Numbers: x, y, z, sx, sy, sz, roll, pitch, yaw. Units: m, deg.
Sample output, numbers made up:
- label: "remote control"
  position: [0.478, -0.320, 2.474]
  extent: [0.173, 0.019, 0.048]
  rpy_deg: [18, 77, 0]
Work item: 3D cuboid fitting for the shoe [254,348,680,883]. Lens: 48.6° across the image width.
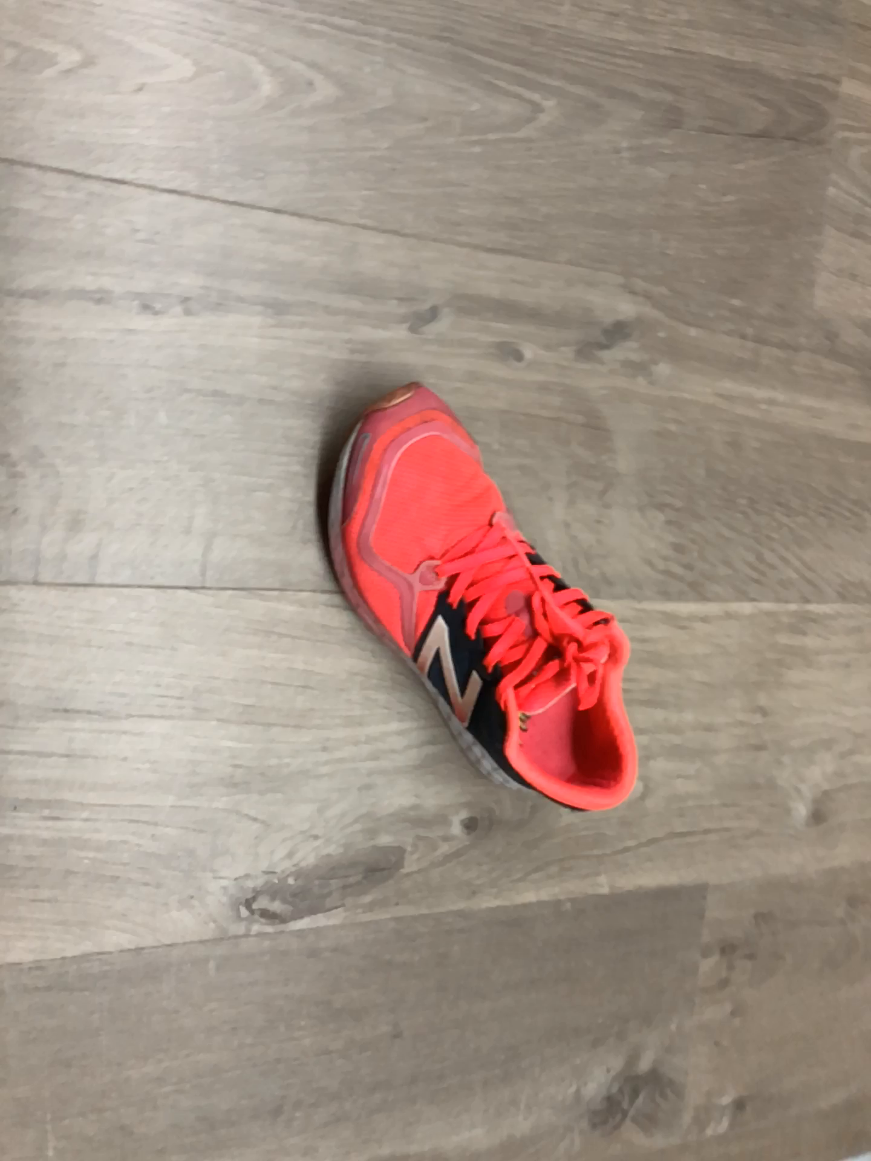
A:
- label: "shoe"
  position: [0.017, 0.015, 0.508]
  extent: [0.100, 0.110, 0.240]
  rpy_deg: [-31, 108, -16]
